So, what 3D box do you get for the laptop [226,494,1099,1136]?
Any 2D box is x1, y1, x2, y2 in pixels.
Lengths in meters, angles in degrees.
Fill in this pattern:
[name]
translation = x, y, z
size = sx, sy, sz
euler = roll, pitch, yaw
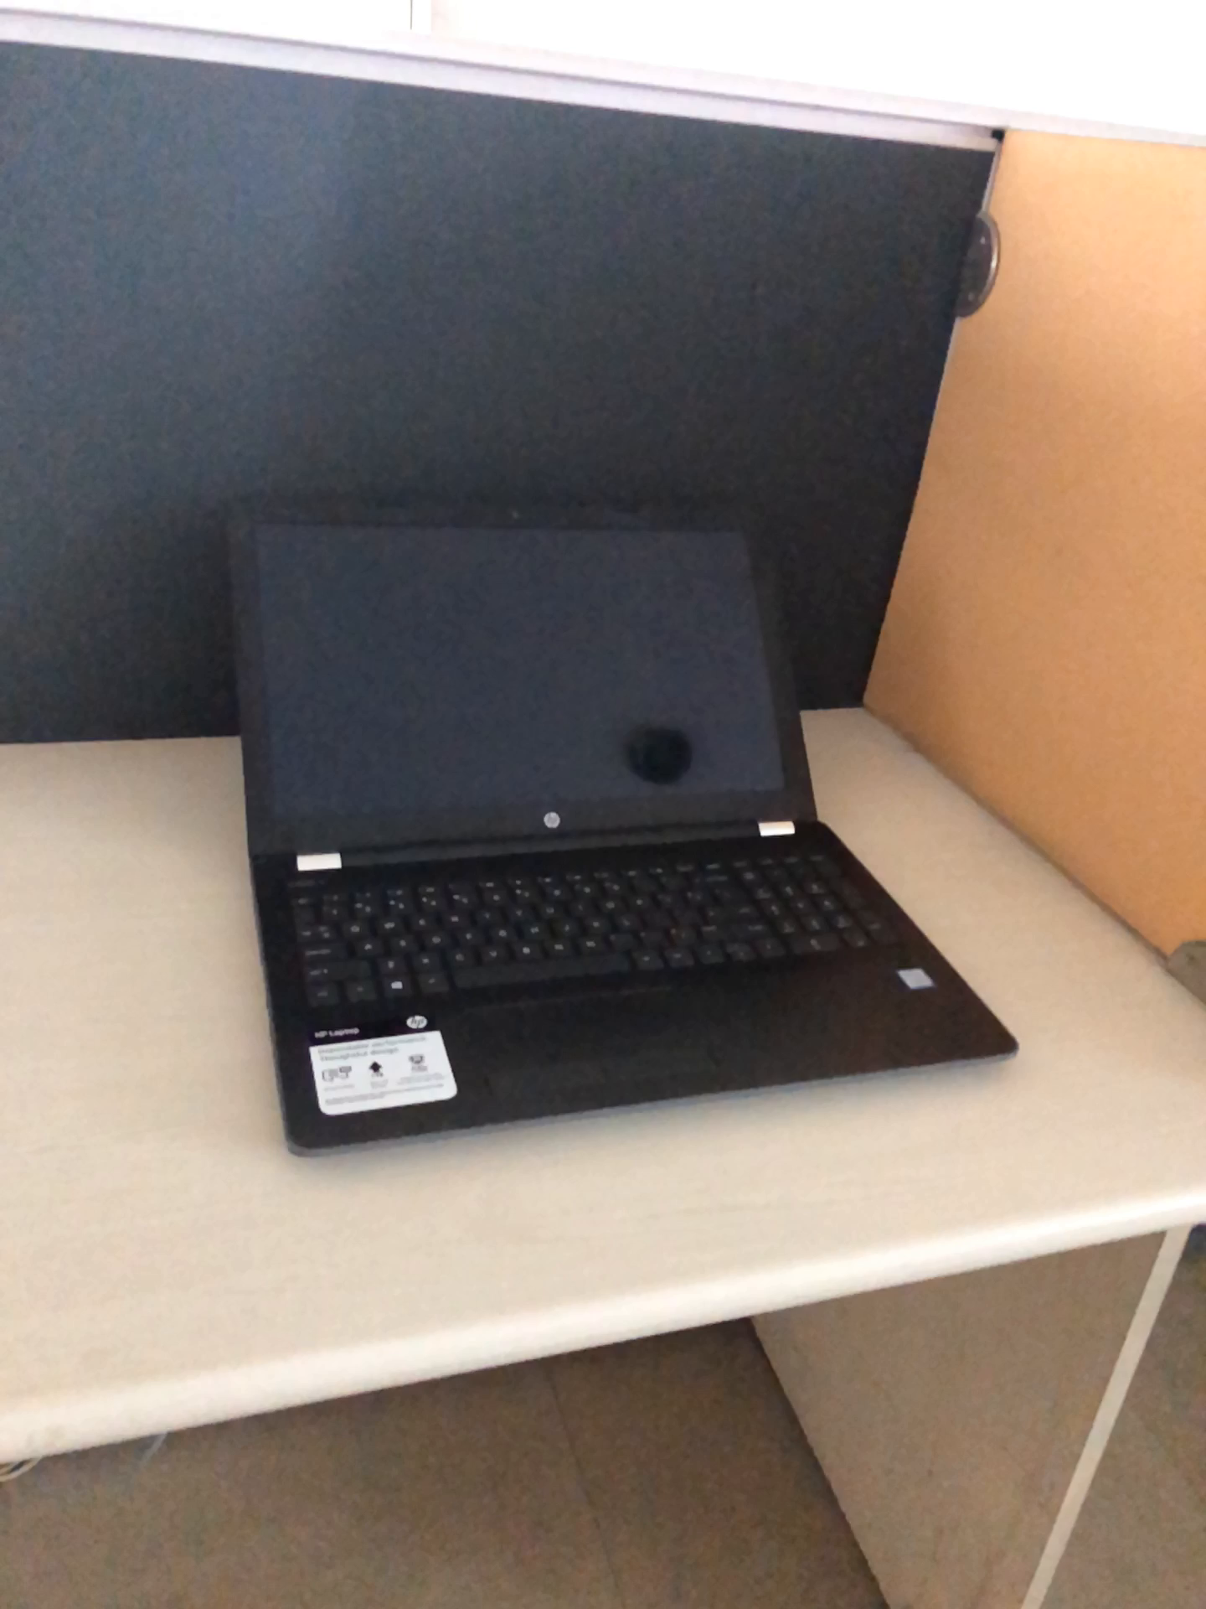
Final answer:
[laptop]
translation = -0.011, -0.035, 0.780
size = 0.378, 0.173, 0.410
euler = -3, 29, -19
